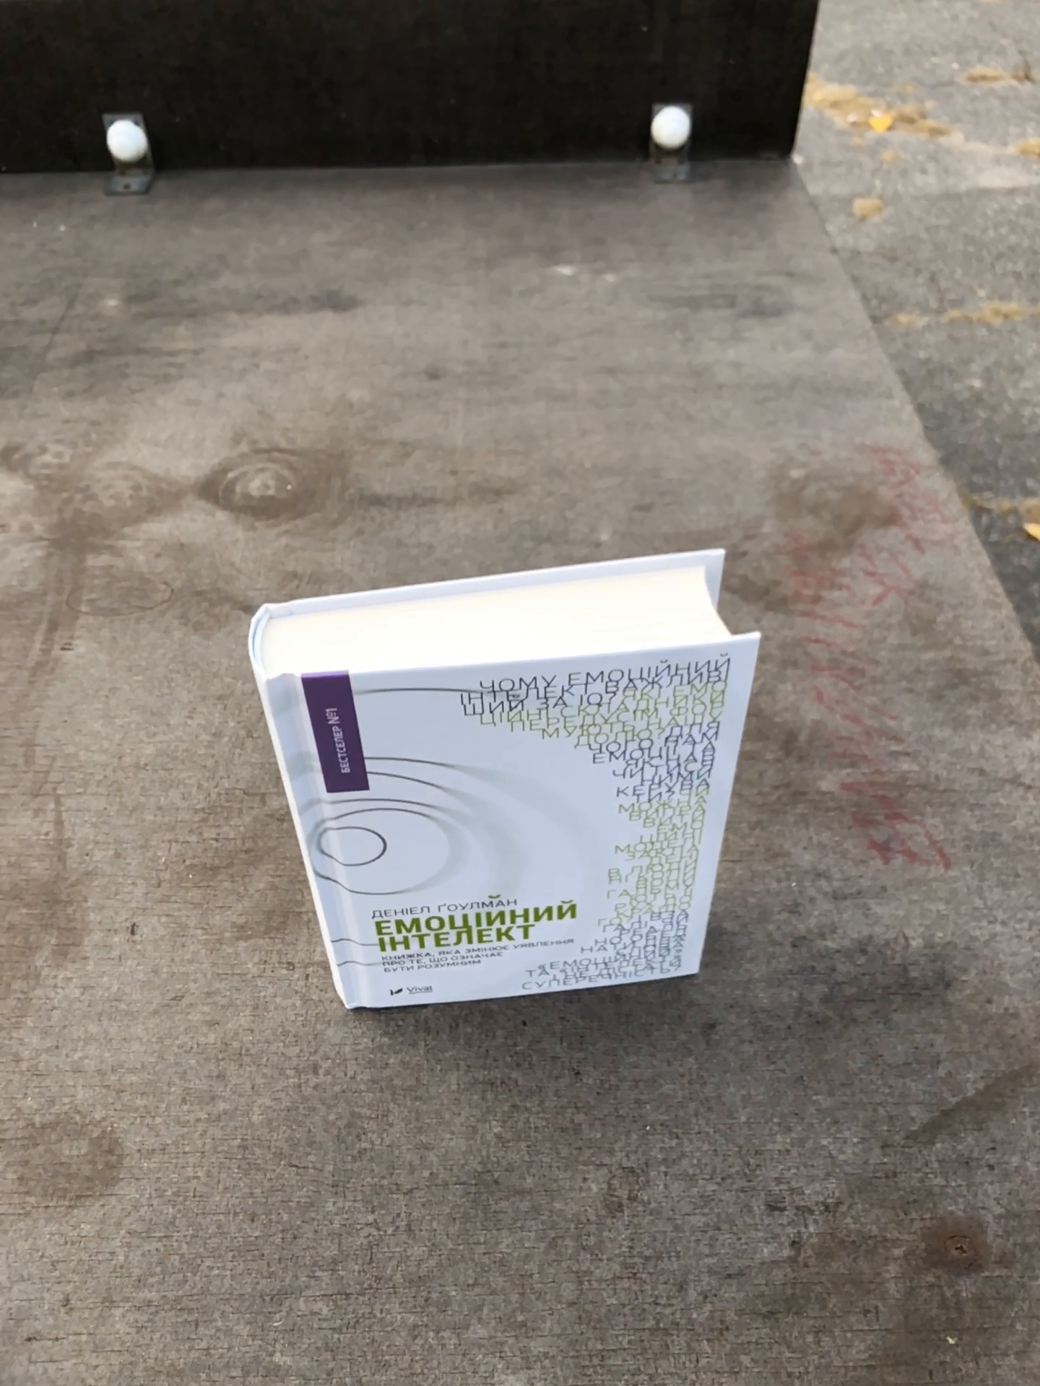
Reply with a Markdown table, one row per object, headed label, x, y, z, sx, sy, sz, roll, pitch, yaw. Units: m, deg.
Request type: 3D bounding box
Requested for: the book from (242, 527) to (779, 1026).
| label | x | y | z | sx | sy | sz | roll | pitch | yaw |
| --- | --- | --- | --- | --- | --- | --- | --- | --- | --- |
| book | -0.005 | 0.042 | 0.433 | 0.160 | 0.208 | 0.050 | -6 | 47 | -5 |
